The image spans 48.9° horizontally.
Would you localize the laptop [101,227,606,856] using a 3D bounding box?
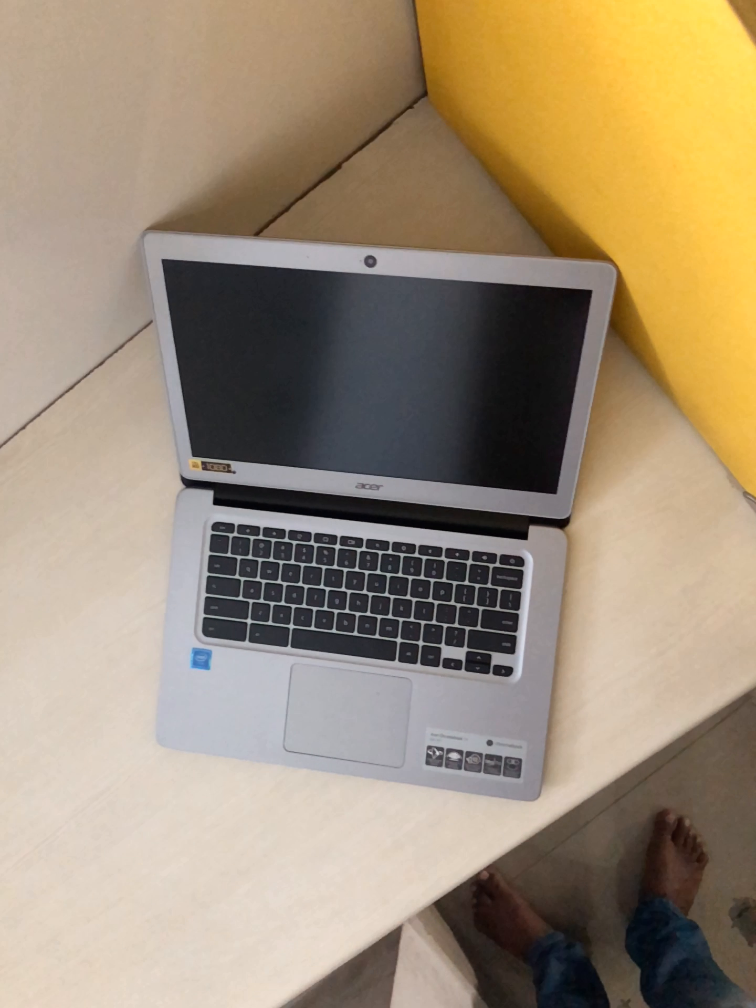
[{"bbox_3d":[-0.021,0.022,0.643,0.319,0.124,0.408,6,94,7],"label":"laptop"}]
